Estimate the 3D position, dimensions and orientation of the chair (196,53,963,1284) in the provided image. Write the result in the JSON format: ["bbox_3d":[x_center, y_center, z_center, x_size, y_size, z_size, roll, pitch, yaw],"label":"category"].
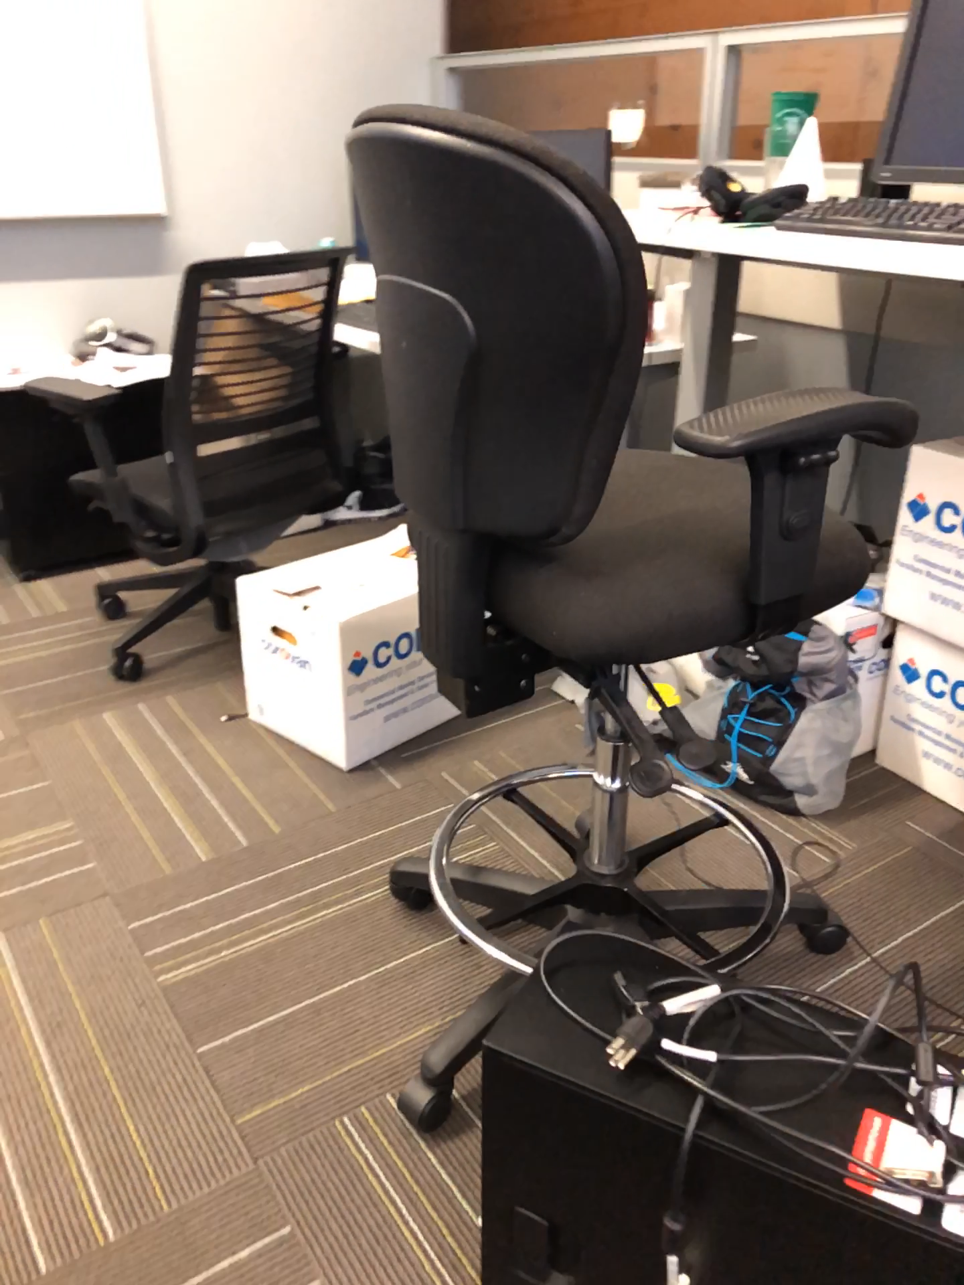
[{"bbox_3d":[0.165,-0.034,1.282,0.731,1.134,0.642,-13,28,-26],"label":"chair"}]
